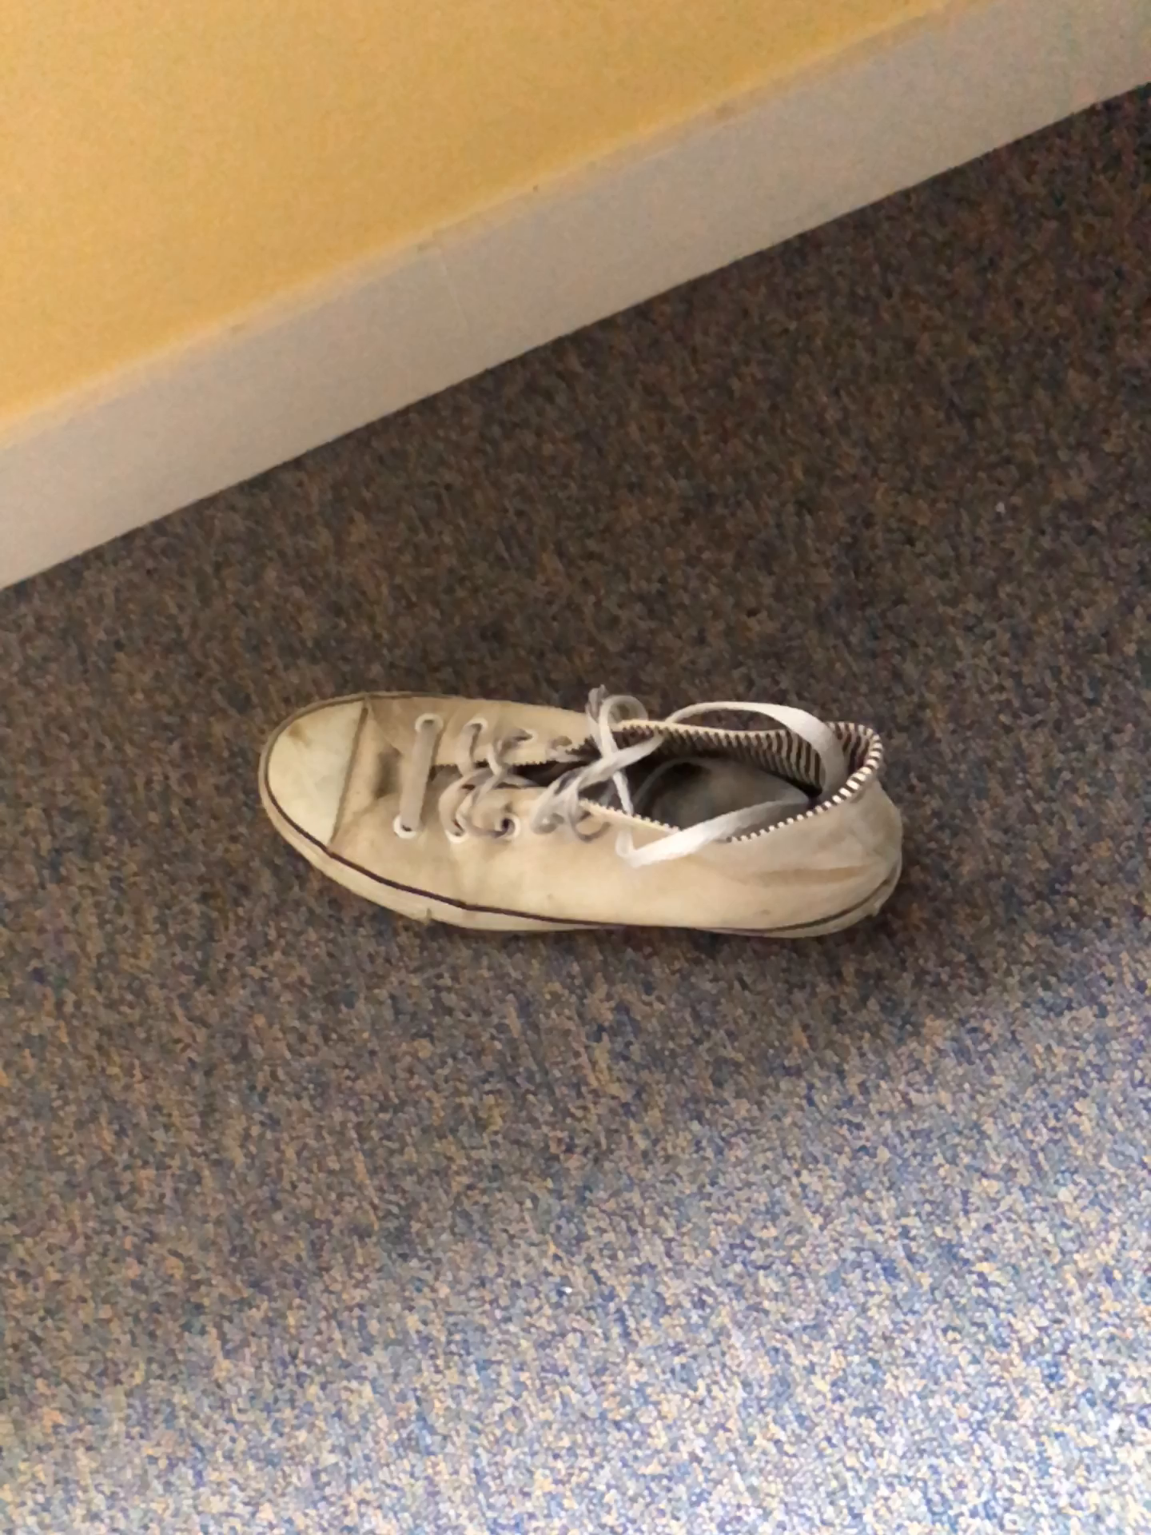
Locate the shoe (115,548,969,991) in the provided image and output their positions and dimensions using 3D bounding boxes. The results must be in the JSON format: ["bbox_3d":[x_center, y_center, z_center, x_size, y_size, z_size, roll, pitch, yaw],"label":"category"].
[{"bbox_3d":[-0.003,0.006,0.449,0.250,0.140,0.100,5,75,10],"label":"shoe"}]
